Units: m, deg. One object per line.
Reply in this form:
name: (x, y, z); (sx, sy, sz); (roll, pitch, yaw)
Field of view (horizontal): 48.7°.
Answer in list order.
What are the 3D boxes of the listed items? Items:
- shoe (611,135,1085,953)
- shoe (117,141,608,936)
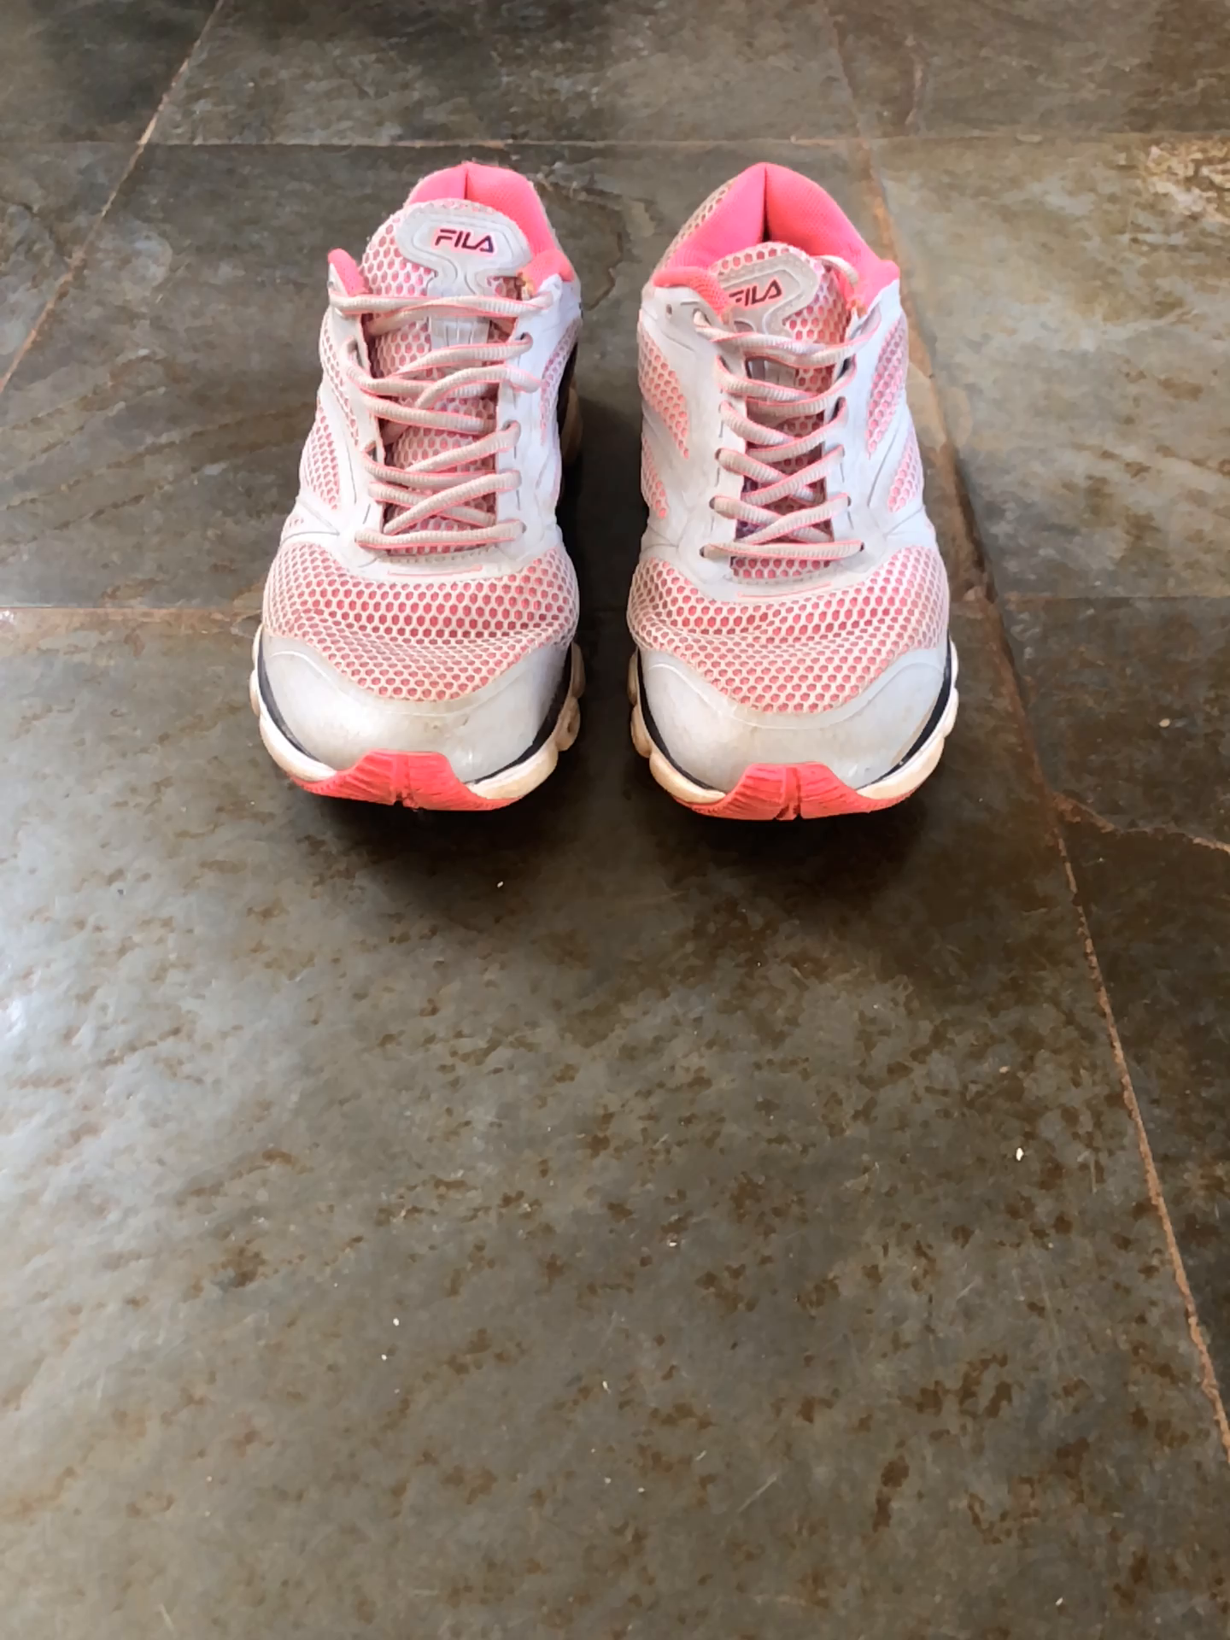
shoe: (0.063, -0.108, 0.448); (0.110, 0.099, 0.292); (2, 51, 3)
shoe: (-0.060, -0.107, 0.444); (0.110, 0.099, 0.282); (0, 51, 1)
